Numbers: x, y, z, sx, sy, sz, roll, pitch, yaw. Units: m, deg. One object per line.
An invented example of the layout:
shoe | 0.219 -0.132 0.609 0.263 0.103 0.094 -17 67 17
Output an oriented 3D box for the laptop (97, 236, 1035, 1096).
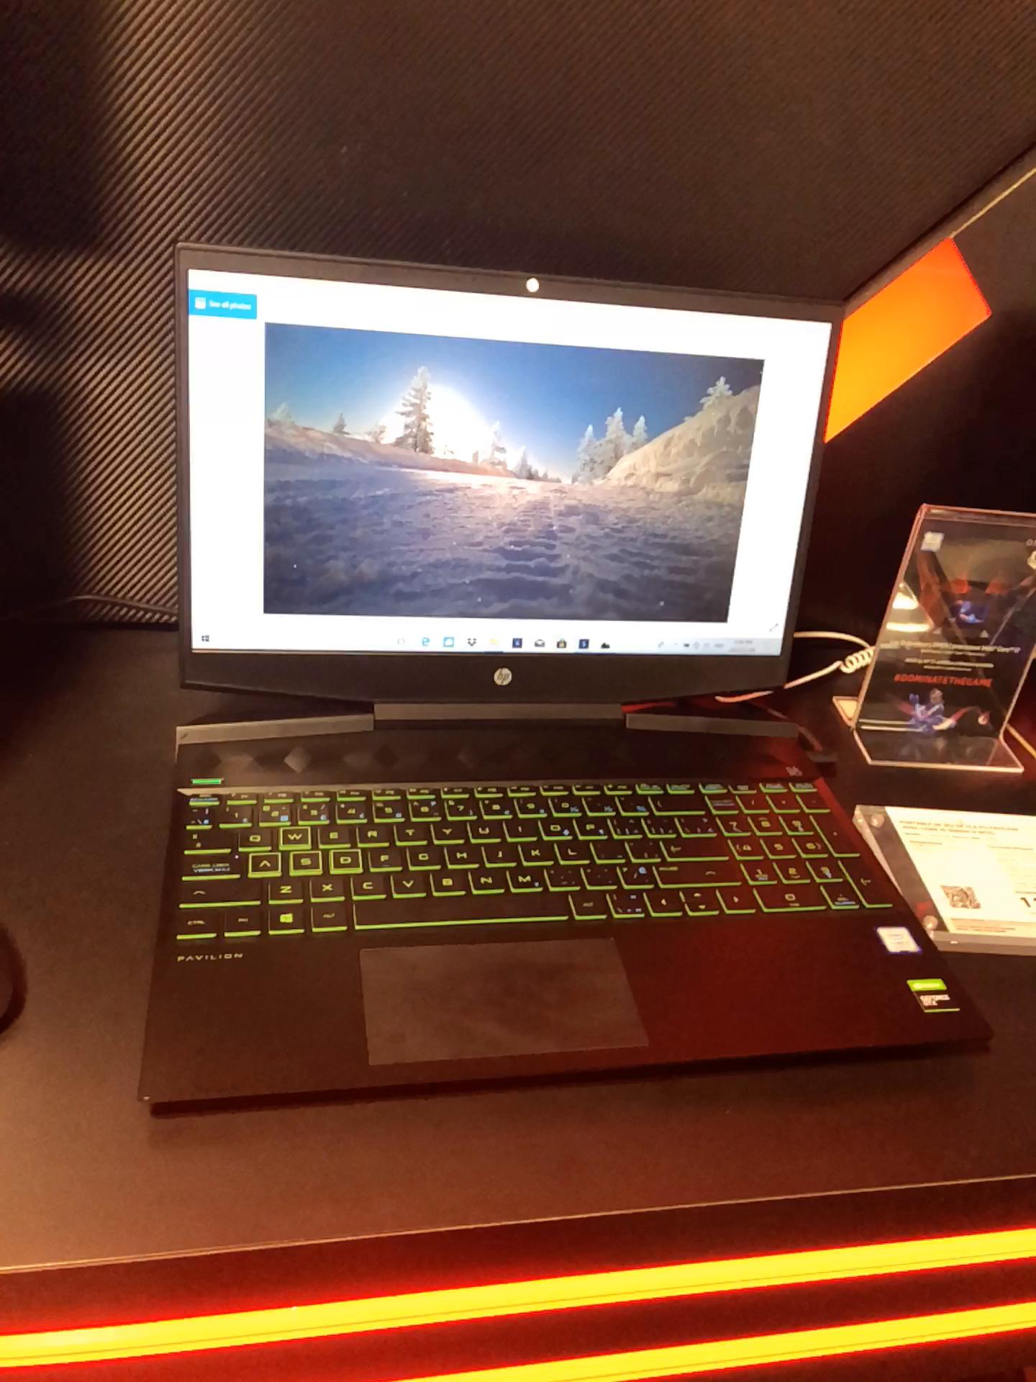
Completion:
laptop | 0.020 -0.040 0.533 0.355 0.240 0.316 0 30 -12
